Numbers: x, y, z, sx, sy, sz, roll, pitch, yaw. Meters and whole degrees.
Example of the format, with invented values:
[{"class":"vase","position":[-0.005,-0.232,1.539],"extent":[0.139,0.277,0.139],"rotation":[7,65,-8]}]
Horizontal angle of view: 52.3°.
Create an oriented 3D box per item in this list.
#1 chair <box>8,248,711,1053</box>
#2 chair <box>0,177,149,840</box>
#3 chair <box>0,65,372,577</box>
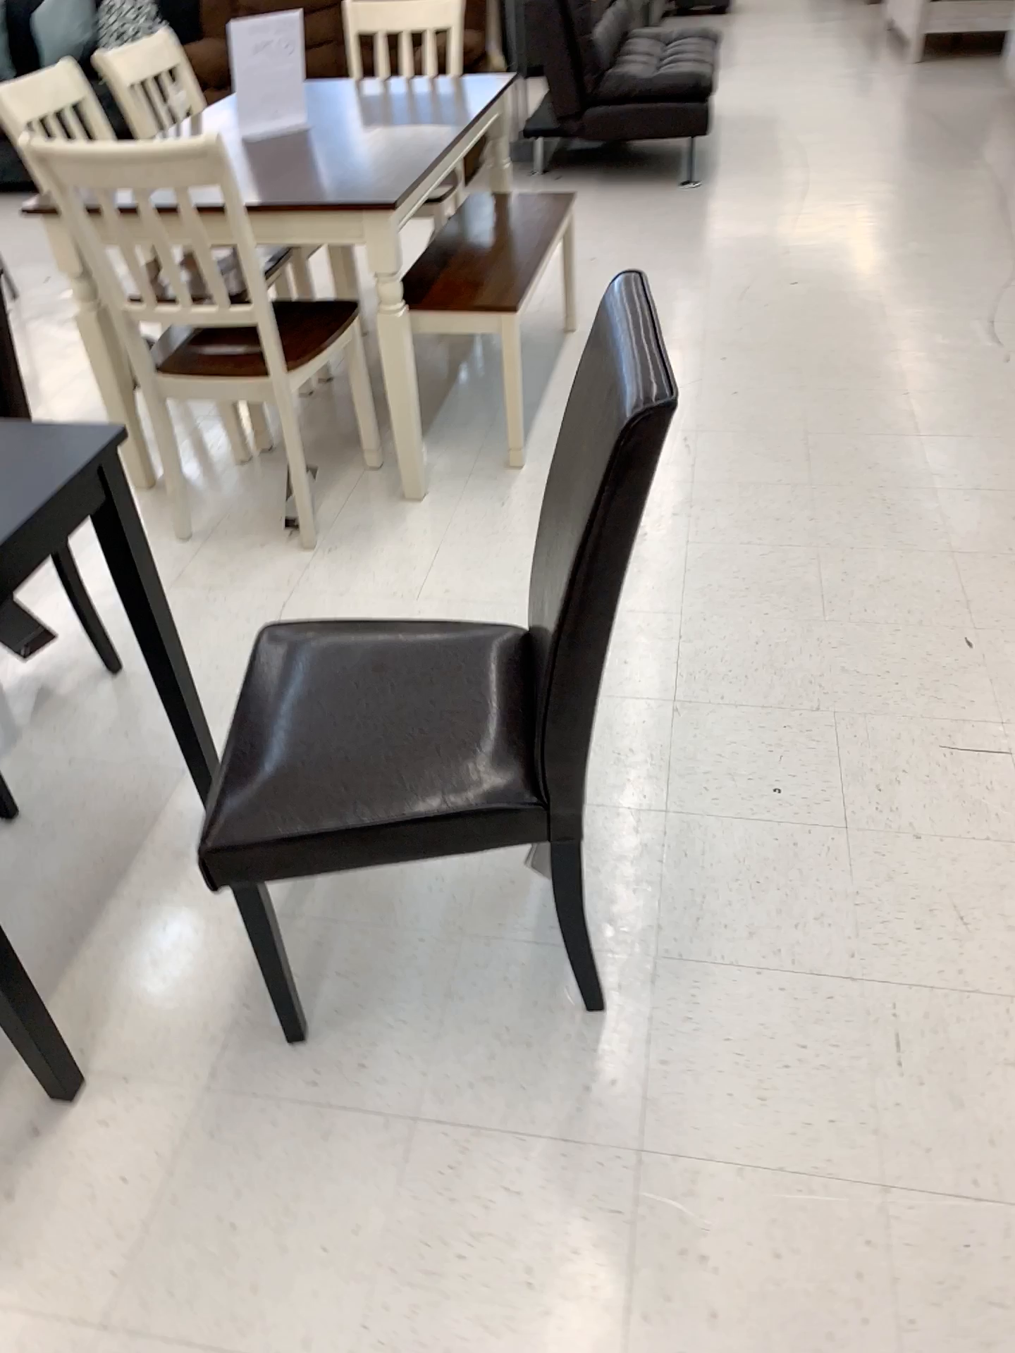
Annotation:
[{"class":"chair","position":[-0.105,0.017,1.325],"extent":[0.594,0.930,0.426],"rotation":[-3,38,1]},{"class":"chair","position":[-1.053,-0.273,1.774],"extent":[0.414,0.930,0.597],"rotation":[2,39,8]},{"class":"chair","position":[-0.681,-0.822,2.425],"extent":[0.464,0.950,0.667],"rotation":[2,39,7]}]
